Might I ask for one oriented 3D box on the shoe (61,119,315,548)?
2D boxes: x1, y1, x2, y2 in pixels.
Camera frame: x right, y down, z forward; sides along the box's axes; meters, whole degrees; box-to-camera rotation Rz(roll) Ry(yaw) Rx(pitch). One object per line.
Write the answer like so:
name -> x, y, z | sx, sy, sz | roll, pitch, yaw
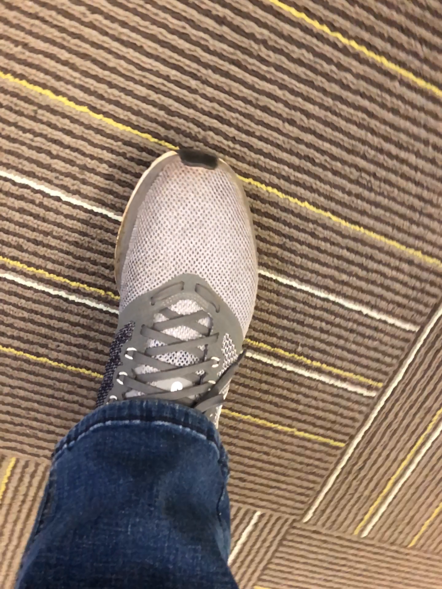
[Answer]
shoe -> -0.033, 0.040, 0.364 | 0.120, 0.060, 0.300 | 10, 105, -11
